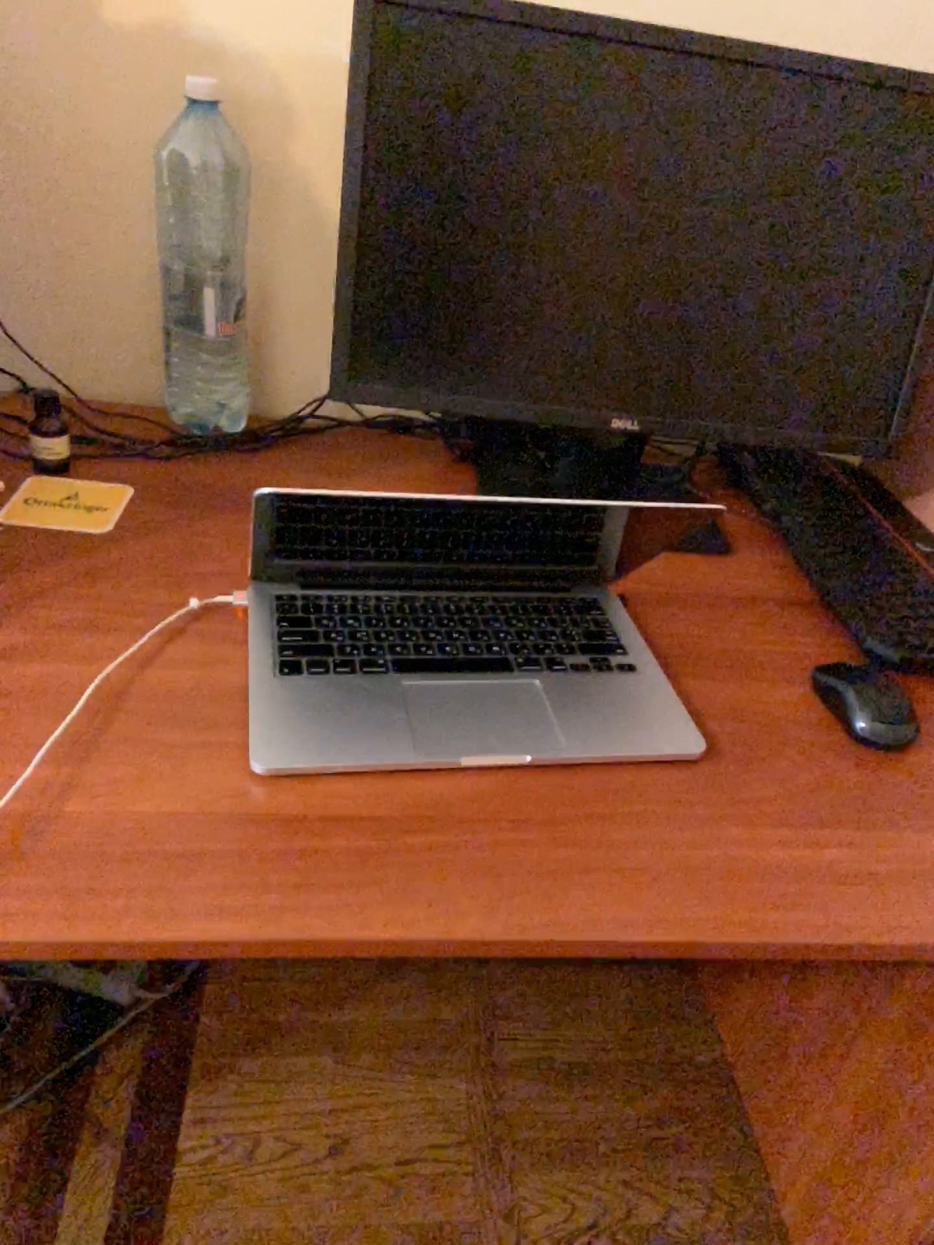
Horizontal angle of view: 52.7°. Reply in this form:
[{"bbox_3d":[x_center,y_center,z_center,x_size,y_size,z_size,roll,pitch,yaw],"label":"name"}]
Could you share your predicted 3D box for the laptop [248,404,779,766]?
[{"bbox_3d":[0.008,-0.032,0.652,0.306,0.148,0.205,0,34,-14],"label":"laptop"}]
